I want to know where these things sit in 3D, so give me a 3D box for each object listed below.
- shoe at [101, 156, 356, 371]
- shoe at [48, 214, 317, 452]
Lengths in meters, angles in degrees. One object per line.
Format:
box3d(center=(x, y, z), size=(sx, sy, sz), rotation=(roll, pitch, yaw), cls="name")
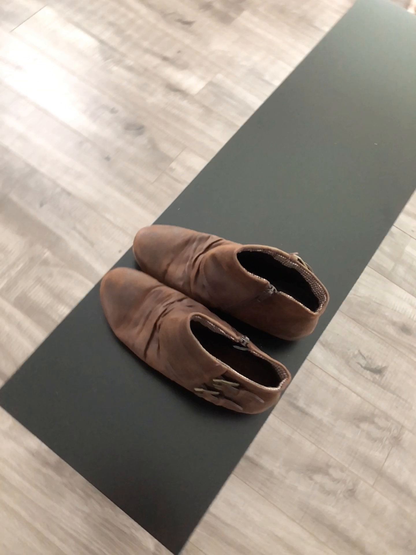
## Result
box3d(center=(0.014, -0.008, 0.510), size=(0.240, 0.130, 0.090), rotation=(30, 68, 5), cls="shoe")
box3d(center=(-0.029, 0.061, 0.465), size=(0.240, 0.110, 0.090), rotation=(37, 69, 8), cls="shoe")
